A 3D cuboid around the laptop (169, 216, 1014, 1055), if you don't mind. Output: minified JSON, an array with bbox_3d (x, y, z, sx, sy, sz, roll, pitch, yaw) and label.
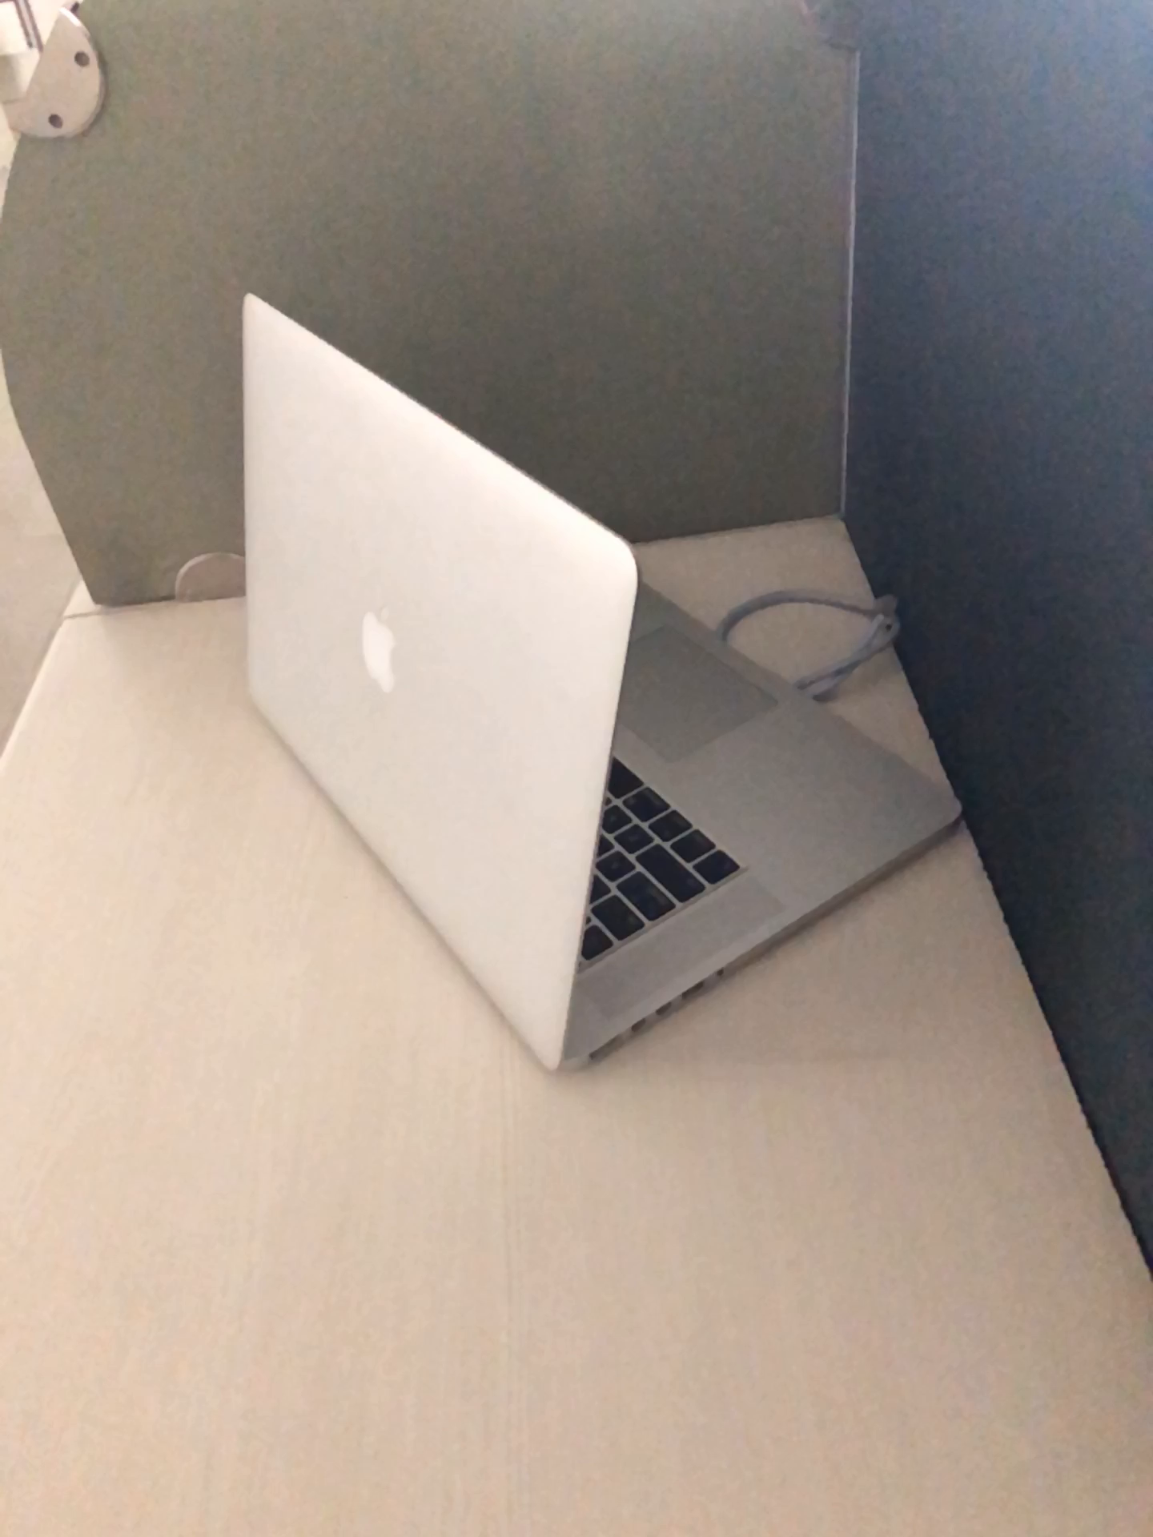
[{"bbox_3d":[-0.002,-0.093,0.640,0.244,0.232,0.323,-26,43,-21],"label":"laptop"}]
